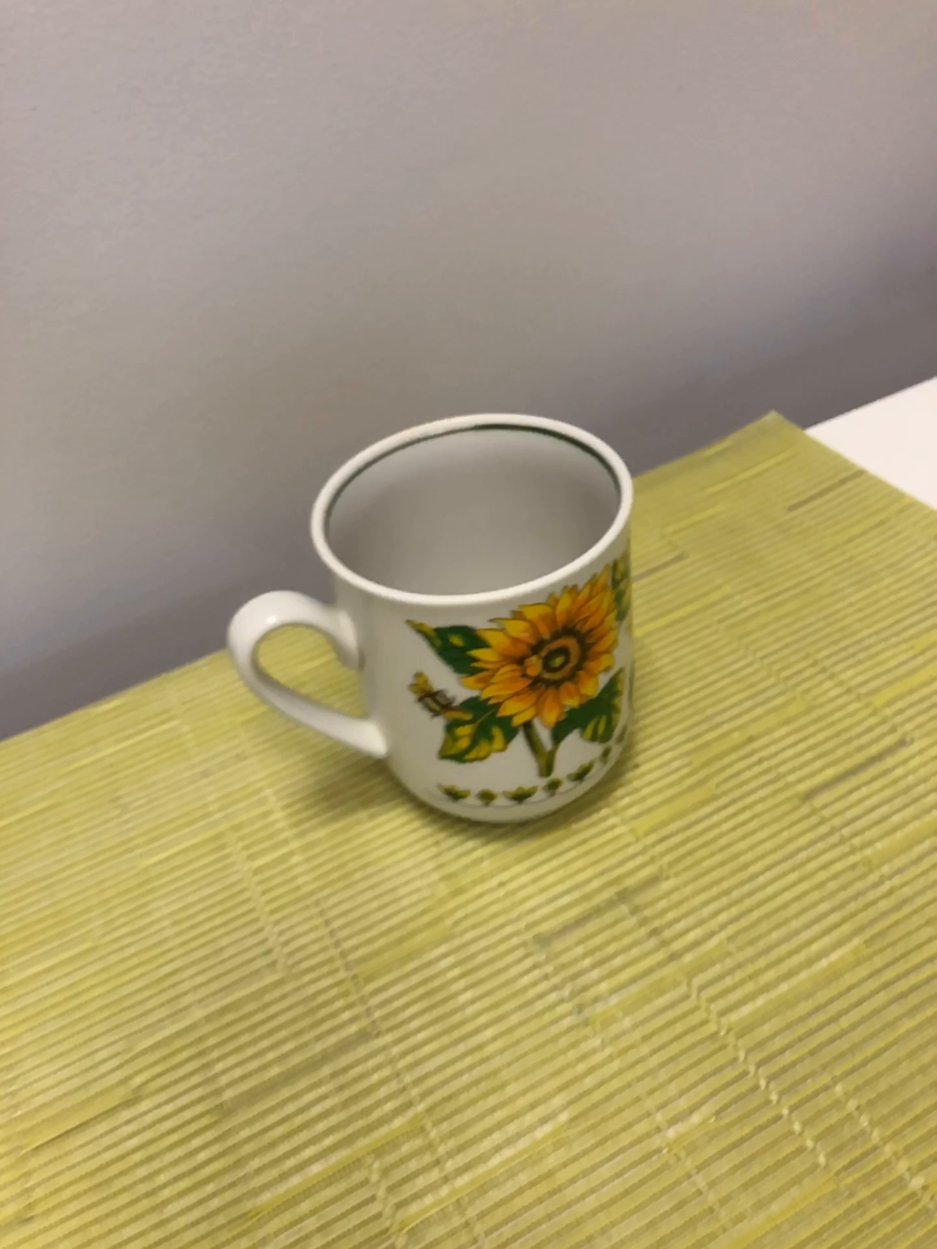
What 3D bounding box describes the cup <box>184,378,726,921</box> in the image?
[{"bbox_3d":[-0.003,0.002,0.294,0.116,0.084,0.088,-20,40,-13],"label":"cup"}]
